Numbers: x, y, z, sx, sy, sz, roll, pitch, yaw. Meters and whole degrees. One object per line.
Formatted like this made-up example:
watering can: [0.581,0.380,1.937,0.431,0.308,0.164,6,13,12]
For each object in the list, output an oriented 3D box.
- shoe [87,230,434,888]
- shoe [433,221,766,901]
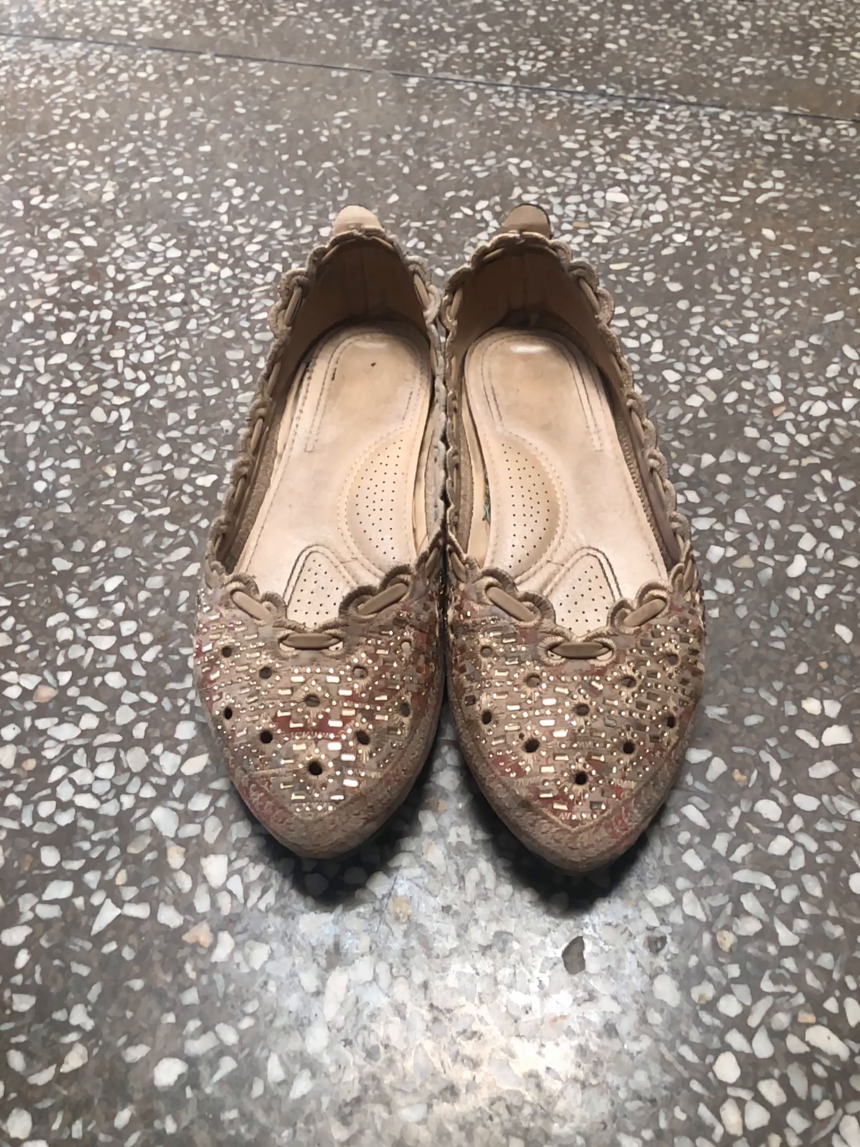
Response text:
shoe: [-0.046,-0.029,0.360,0.090,0.040,0.281,0,53,1]
shoe: [0.048,-0.025,0.349,0.090,0.040,0.271,0,57,1]
